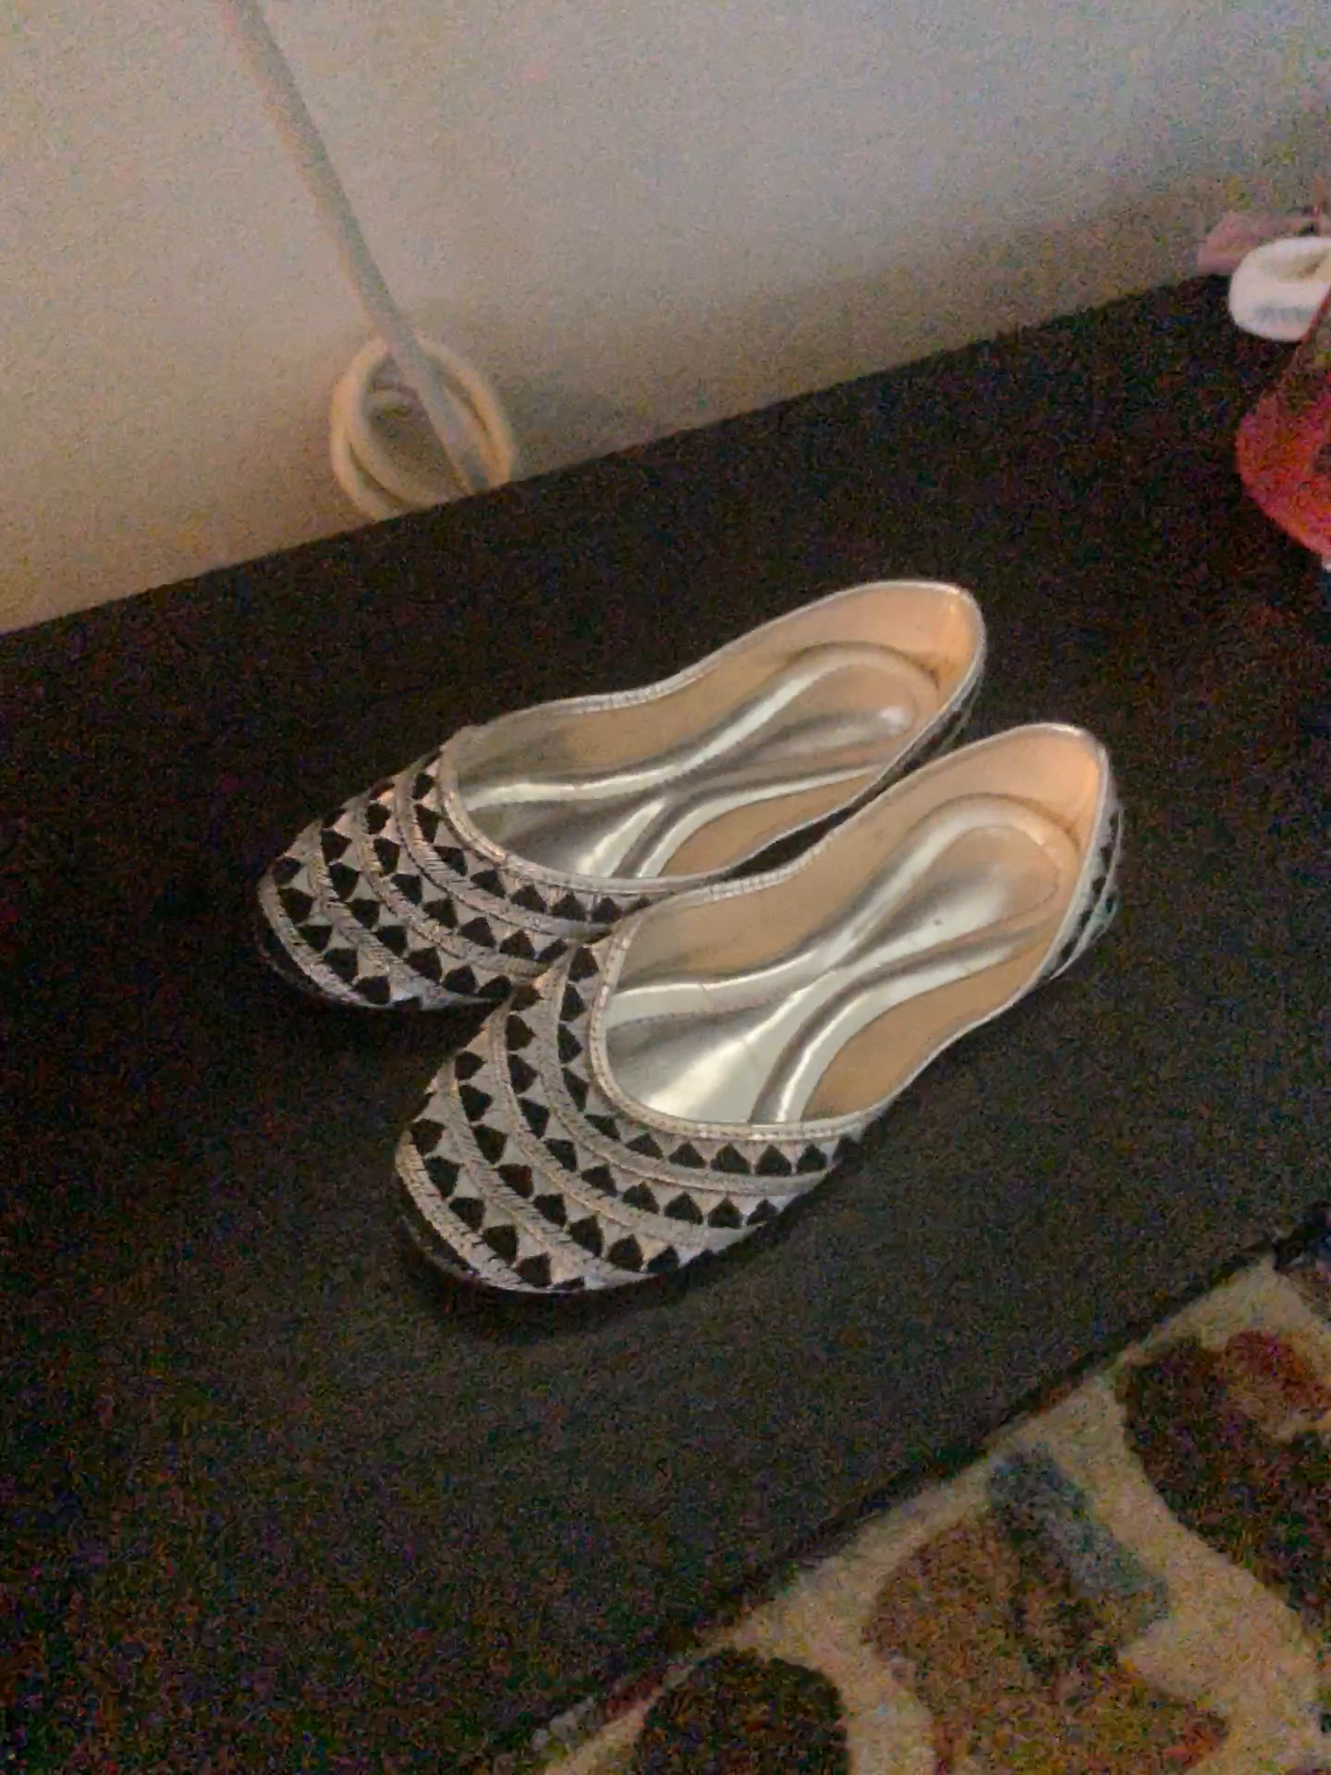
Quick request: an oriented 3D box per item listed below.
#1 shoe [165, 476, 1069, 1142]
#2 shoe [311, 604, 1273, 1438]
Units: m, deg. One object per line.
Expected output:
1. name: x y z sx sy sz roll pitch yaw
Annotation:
1. shoe: -0.009 -0.036 0.460 0.271 0.079 0.100 -26 62 -22
2. shoe: 0.042 0.026 0.401 0.261 0.079 0.100 -31 64 -24
